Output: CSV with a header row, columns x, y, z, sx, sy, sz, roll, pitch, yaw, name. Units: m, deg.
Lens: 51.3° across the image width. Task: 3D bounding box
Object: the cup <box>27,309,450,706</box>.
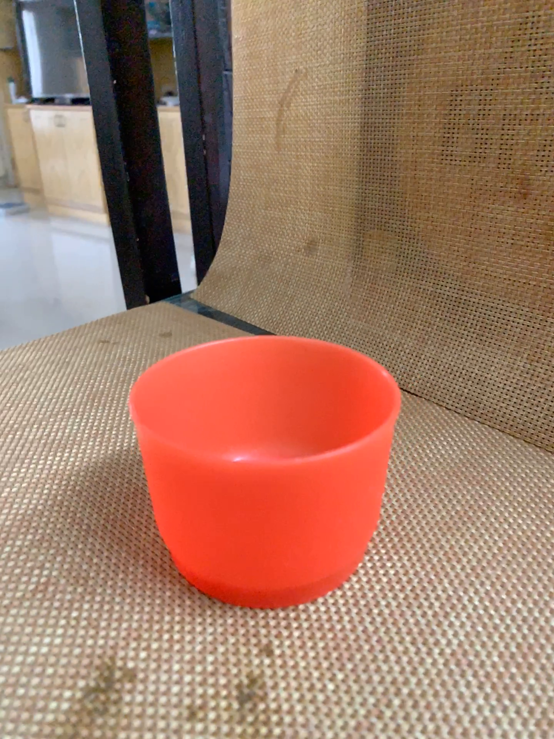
x,y,z,sx,sy,sz,roll,pitch,yaw,name
-0.008,0.025,0.164,0.081,0.050,0.079,0,26,0,cup
